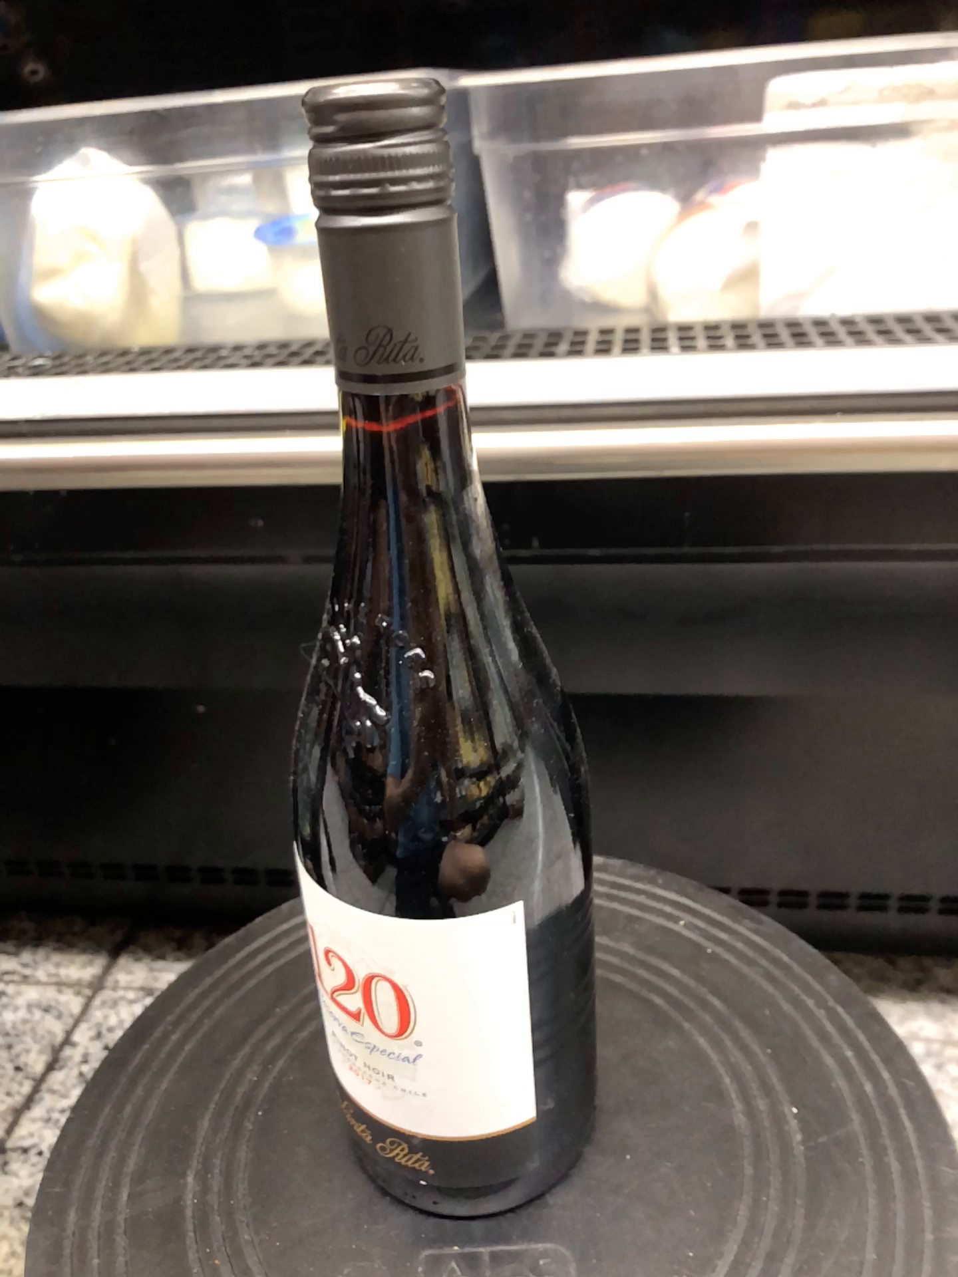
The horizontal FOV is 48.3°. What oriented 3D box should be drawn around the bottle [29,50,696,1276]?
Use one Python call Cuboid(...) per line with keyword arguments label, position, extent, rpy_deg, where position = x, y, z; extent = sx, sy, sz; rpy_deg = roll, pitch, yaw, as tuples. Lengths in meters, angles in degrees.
Cuboid(label="bottle", position=(-0.012, 0.021, 0.268), extent=(0.090, 0.288, 0.090), rpy_deg=(-4, 27, 2))
